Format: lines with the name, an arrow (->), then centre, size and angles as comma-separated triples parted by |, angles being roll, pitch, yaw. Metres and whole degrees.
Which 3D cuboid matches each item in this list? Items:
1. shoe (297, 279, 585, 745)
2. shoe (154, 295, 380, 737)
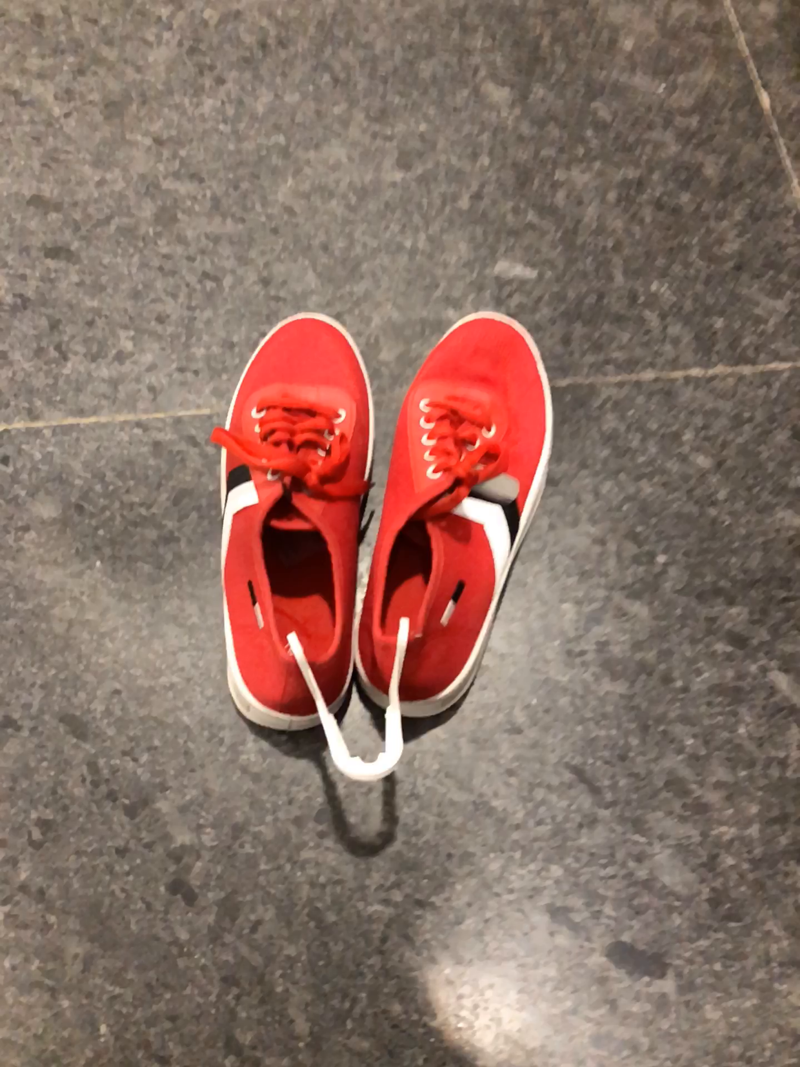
shoe -> 0.027, -0.015, 0.502 | 0.103, 0.090, 0.234 | 13, 66, 3
shoe -> -0.065, -0.011, 0.501 | 0.101, 0.090, 0.233 | 1, 66, -2
